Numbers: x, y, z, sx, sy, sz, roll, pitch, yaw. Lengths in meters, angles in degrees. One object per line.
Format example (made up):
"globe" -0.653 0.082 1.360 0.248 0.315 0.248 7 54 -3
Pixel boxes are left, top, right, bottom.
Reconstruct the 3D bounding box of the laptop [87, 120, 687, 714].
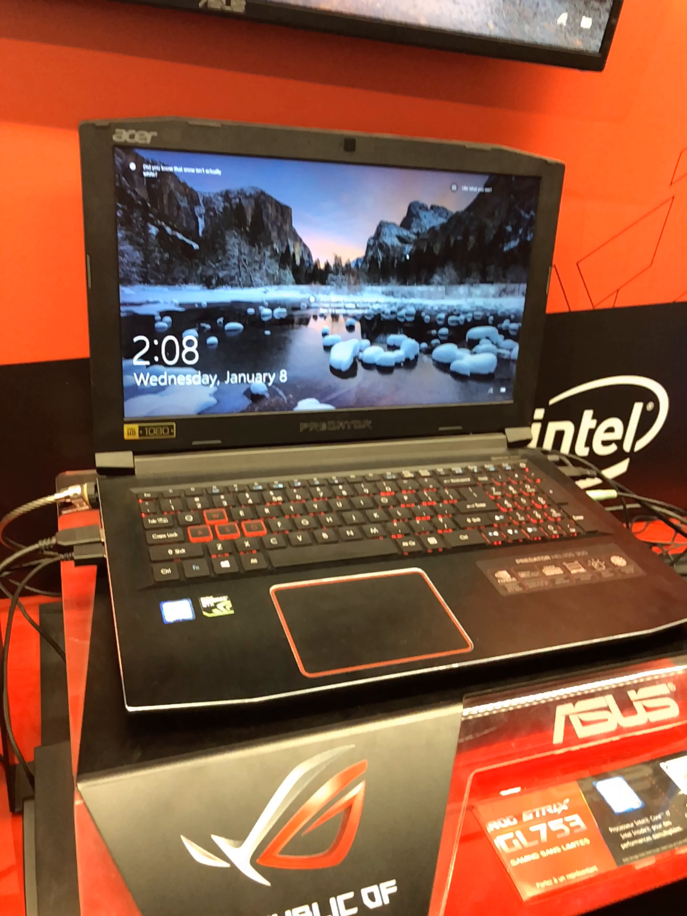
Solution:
"laptop" 0.038 -0.064 0.514 0.385 0.240 0.295 -3 29 -20
